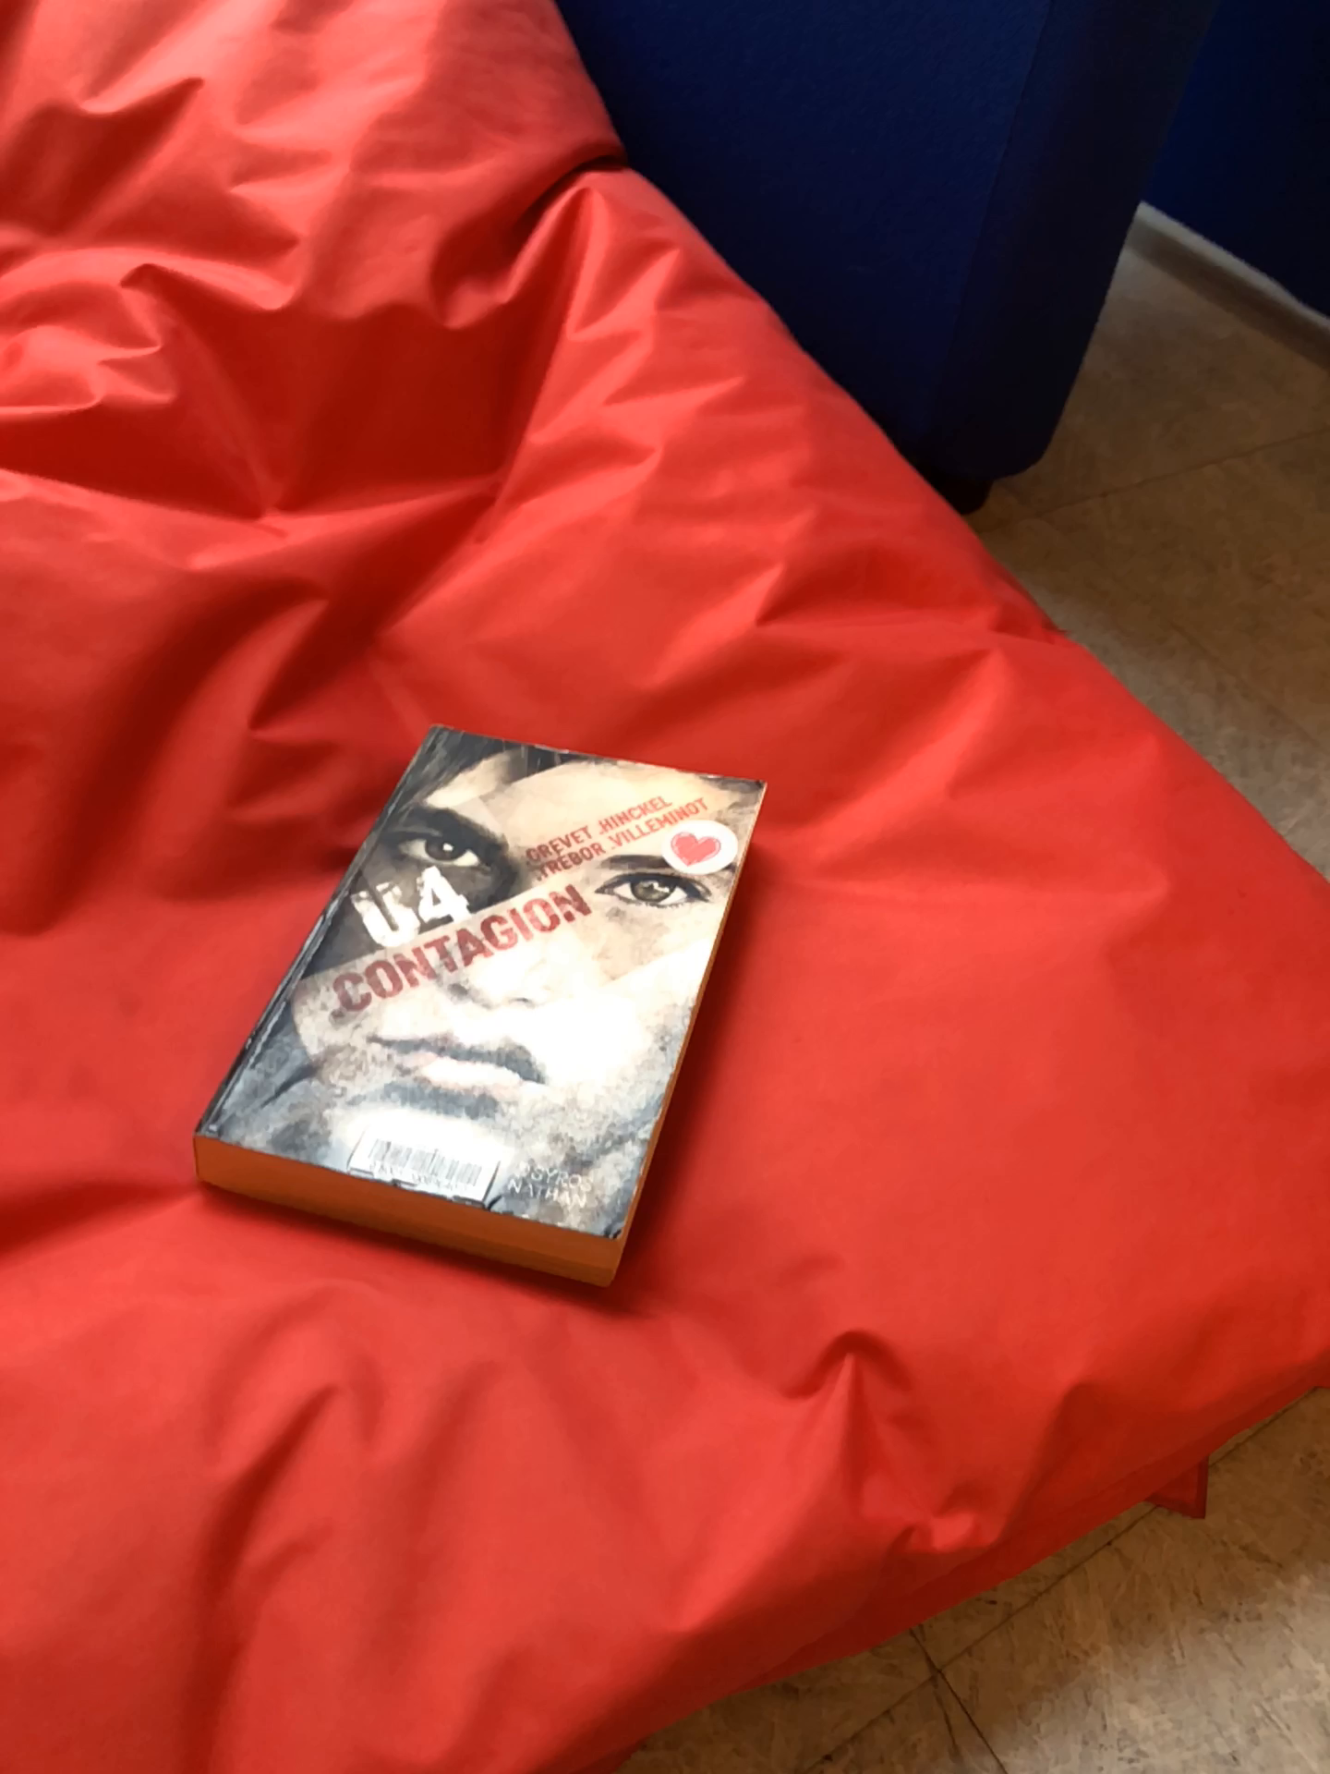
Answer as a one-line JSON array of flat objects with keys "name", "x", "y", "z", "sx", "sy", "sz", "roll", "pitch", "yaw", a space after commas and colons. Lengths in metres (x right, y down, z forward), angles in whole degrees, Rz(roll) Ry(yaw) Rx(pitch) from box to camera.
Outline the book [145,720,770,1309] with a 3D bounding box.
[{"name": "book", "x": -0.065, "y": 0.034, "z": 0.566, "sx": 0.166, "sy": 0.038, "sz": 0.226, "roll": 11, "pitch": 47, "yaw": 10}]
